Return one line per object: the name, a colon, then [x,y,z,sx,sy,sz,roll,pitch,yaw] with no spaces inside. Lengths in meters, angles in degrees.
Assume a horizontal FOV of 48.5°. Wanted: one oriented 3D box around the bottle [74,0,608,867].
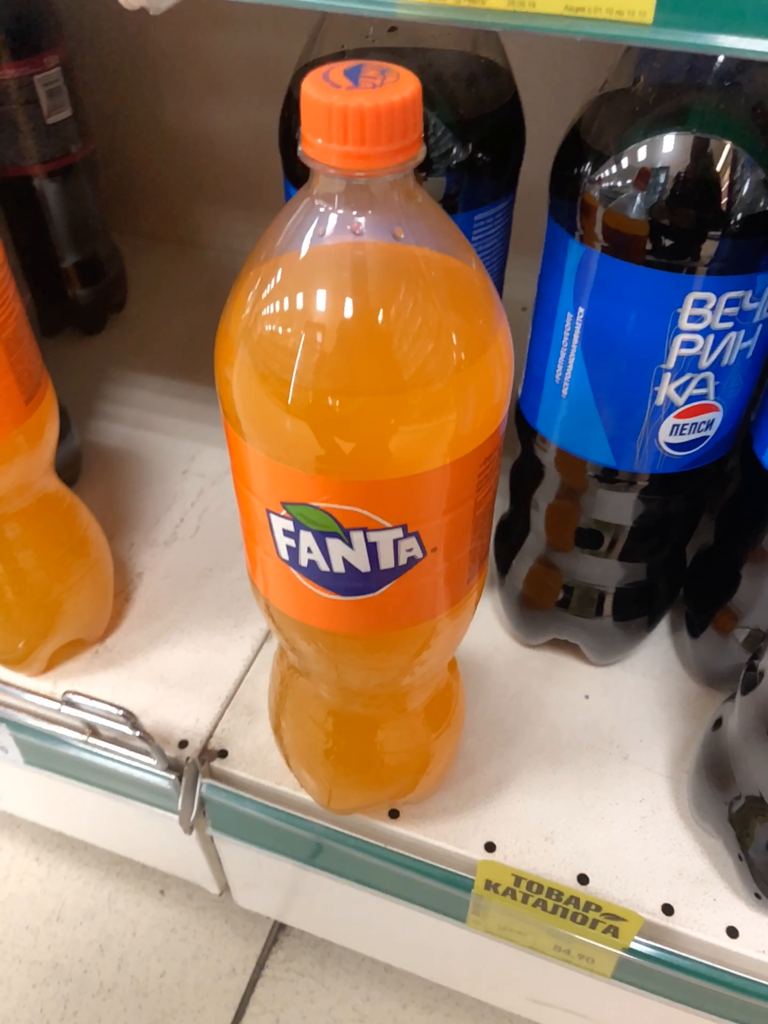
bottle: [-0.003,0.006,0.306,0.100,0.308,0.090,12,46,11]
